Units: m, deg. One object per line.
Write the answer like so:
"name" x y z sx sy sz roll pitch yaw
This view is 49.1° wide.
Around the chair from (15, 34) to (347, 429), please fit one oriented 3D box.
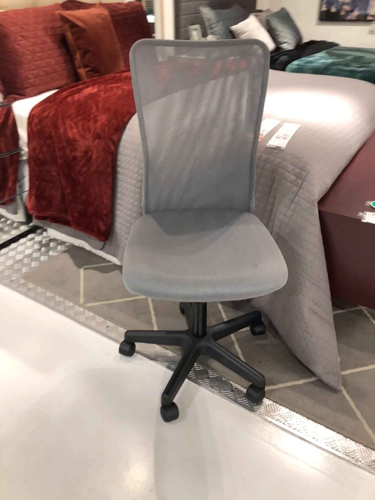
"chair" 0.014 -0.070 1.212 0.560 0.943 0.645 2 33 4
